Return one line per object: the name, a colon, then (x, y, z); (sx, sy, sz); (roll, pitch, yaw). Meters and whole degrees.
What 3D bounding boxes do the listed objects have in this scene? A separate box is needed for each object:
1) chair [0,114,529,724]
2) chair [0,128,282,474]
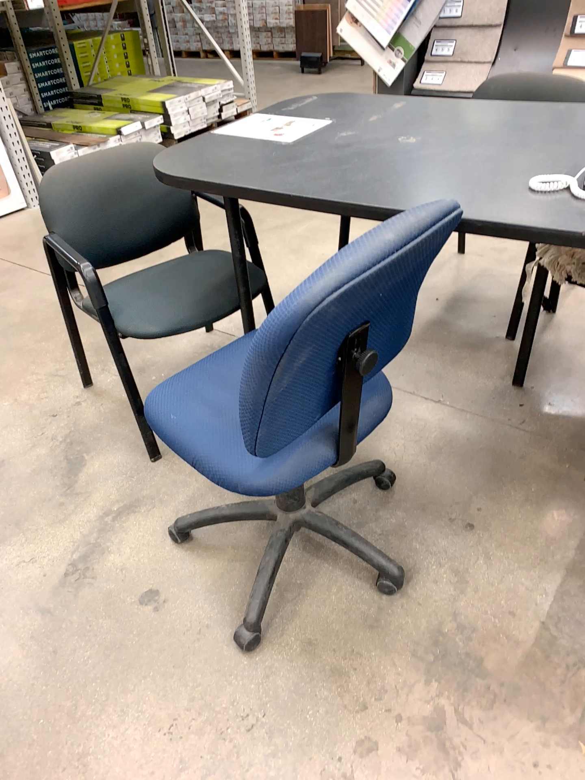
chair: (-0.044, -0.001, 1.267); (0.664, 0.889, 0.698); (27, 48, 36)
chair: (-0.460, -0.302, 1.874); (0.568, 0.800, 0.543); (-29, 42, -28)
